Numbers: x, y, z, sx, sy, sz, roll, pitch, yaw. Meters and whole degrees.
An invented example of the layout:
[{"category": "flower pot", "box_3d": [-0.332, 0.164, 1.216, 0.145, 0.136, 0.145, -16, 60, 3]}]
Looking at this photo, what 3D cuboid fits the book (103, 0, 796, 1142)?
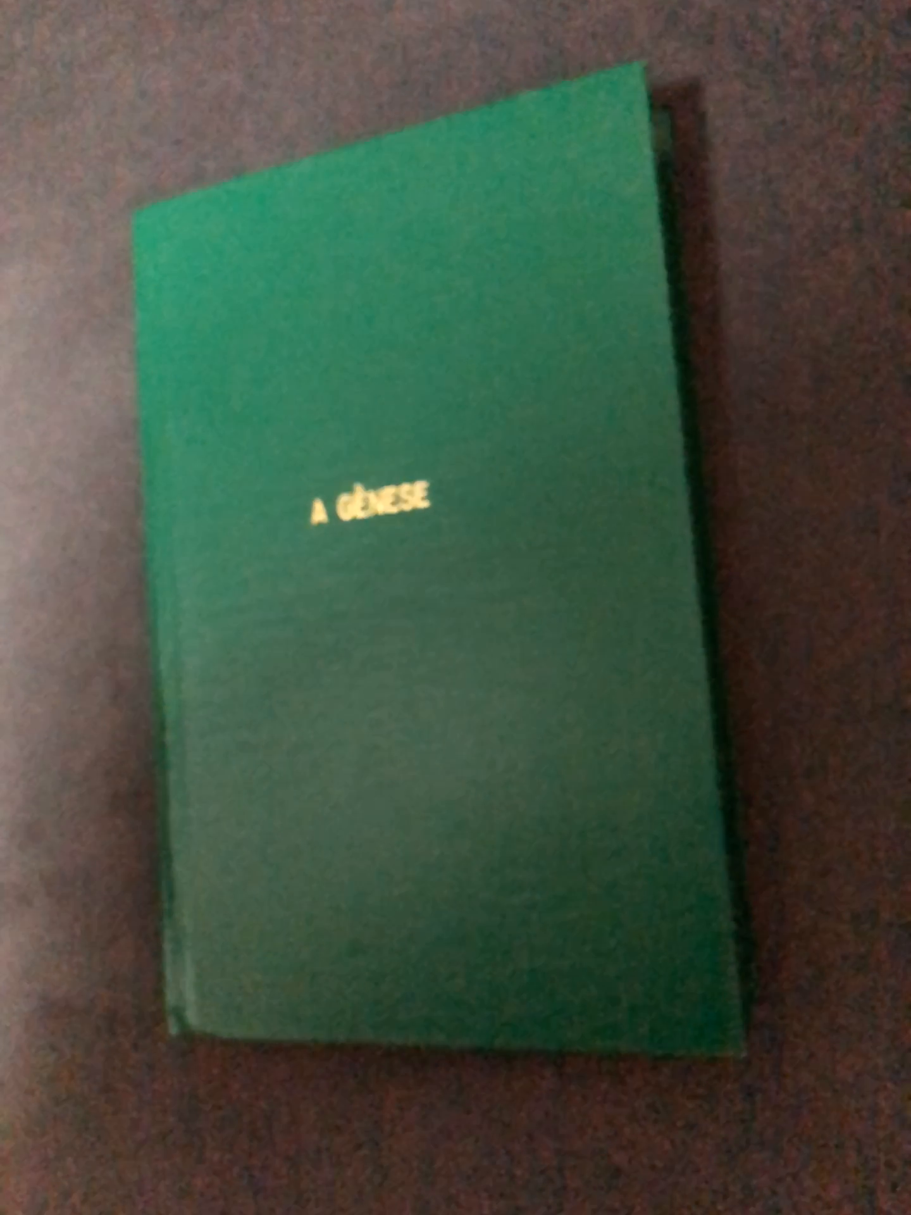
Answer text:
[{"category": "book", "box_3d": [-0.009, -0.006, 0.257, 0.150, 0.040, 0.240, -7, 83, 21]}]
